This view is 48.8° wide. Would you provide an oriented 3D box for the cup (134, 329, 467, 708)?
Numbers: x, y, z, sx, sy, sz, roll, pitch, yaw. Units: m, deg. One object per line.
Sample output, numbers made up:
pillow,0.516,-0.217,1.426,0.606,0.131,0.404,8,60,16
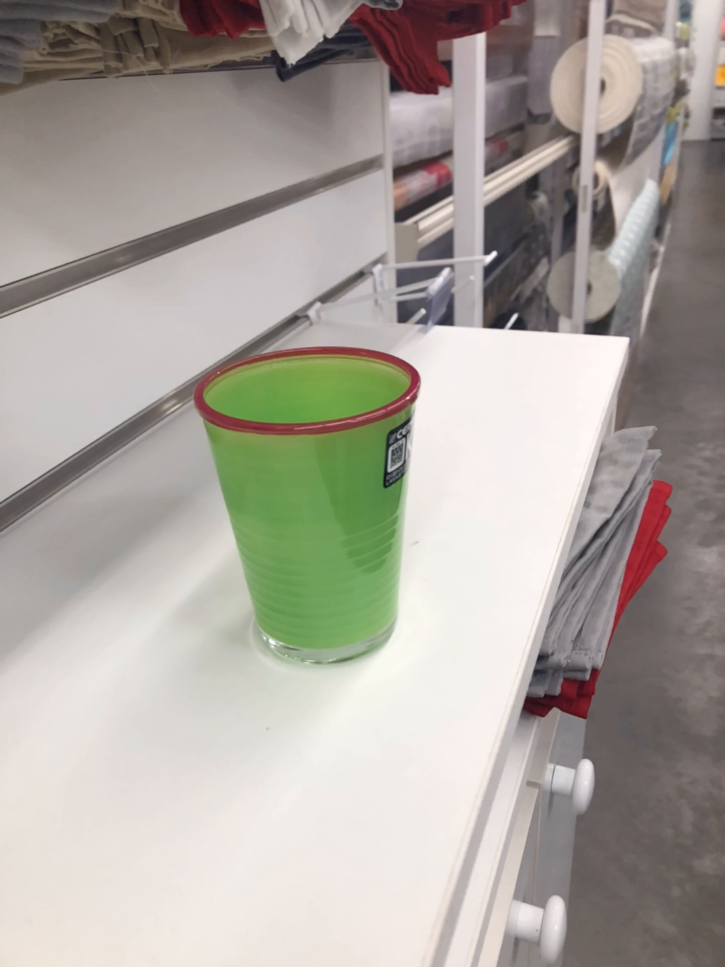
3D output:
cup,-0.015,0.006,0.299,0.082,0.098,0.087,-3,28,2
